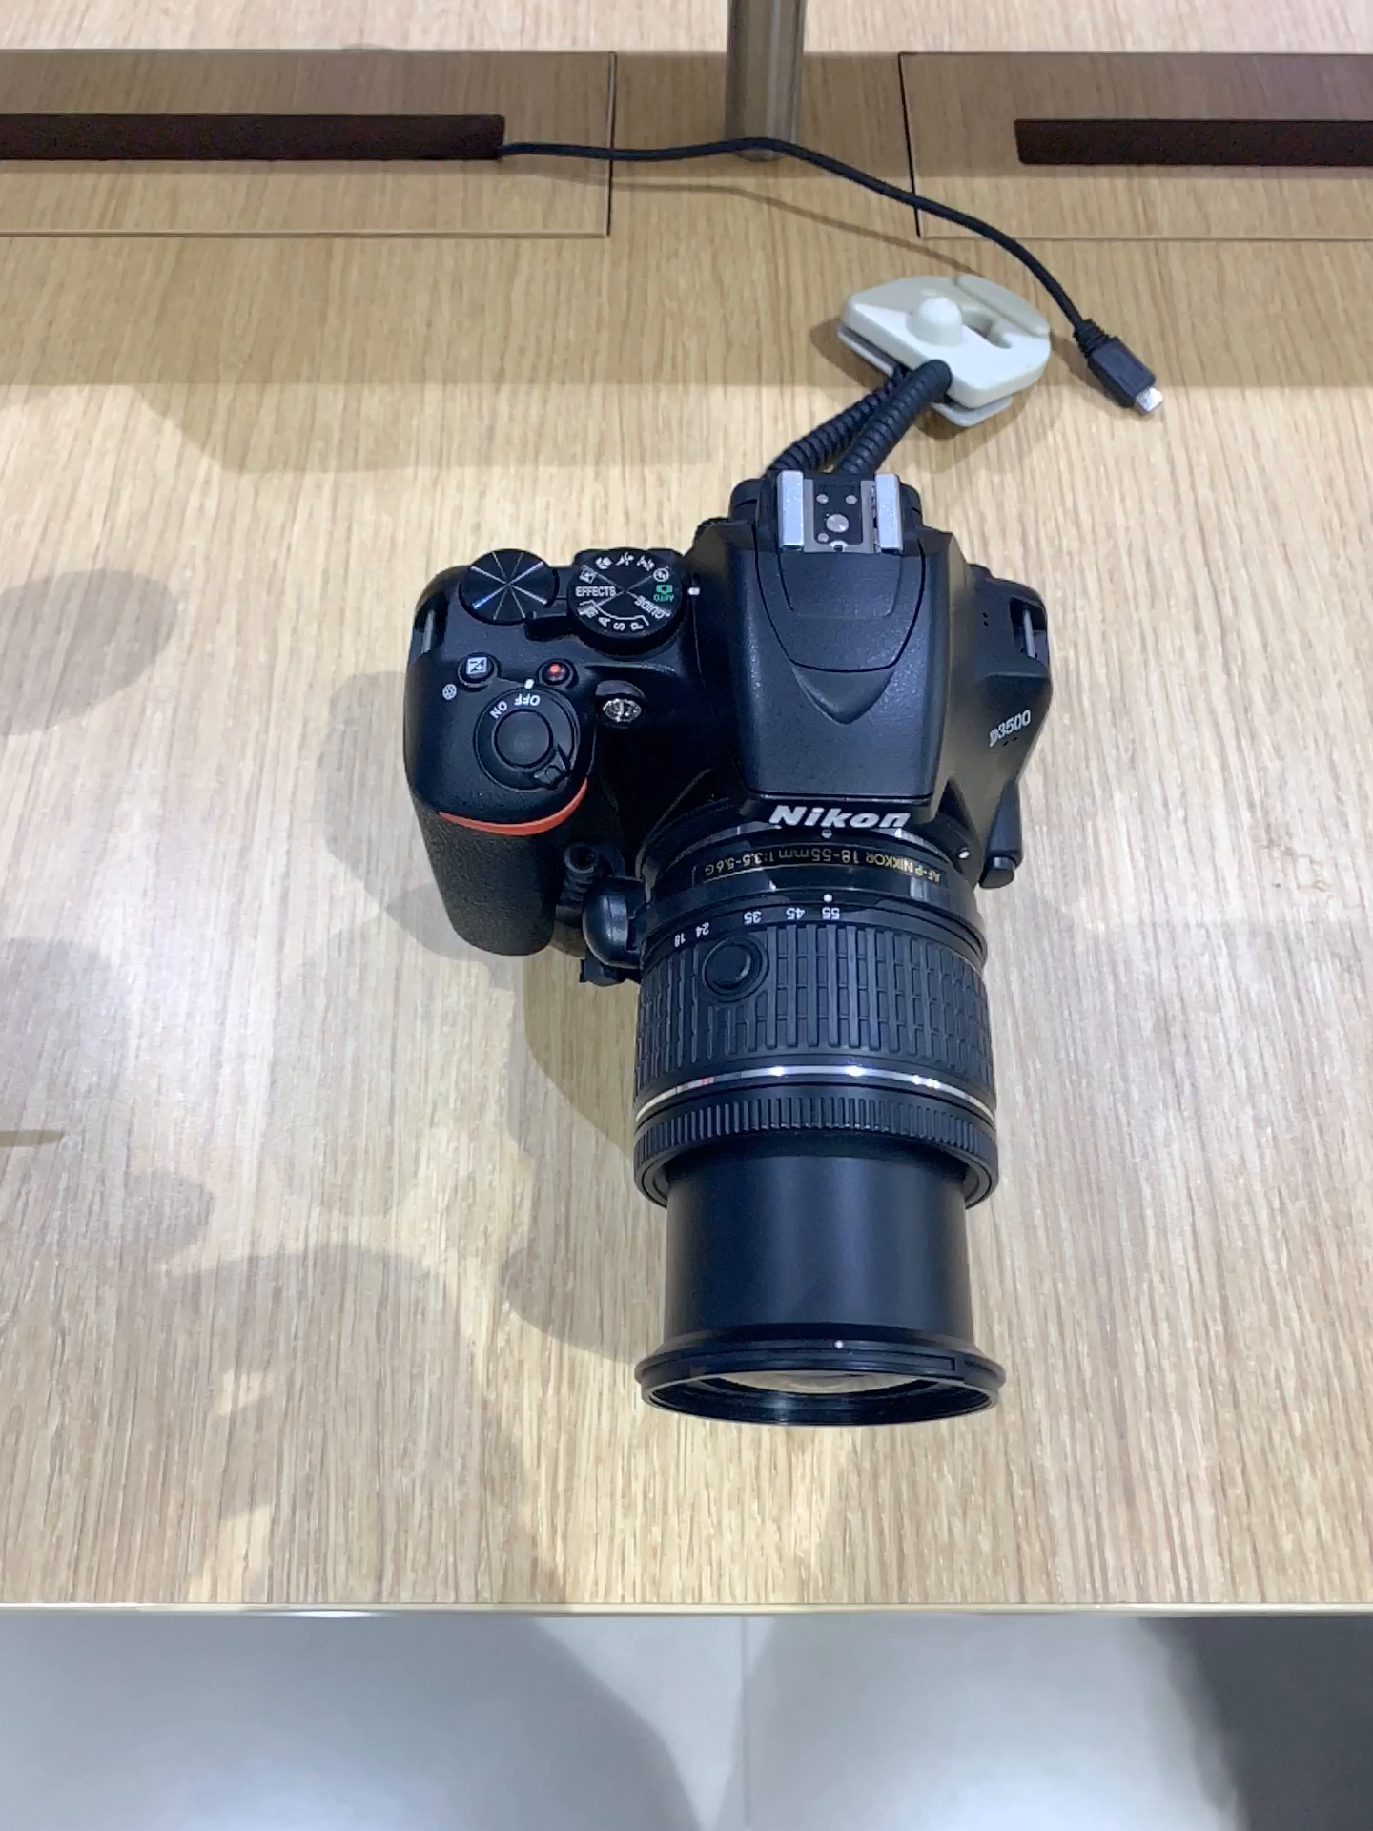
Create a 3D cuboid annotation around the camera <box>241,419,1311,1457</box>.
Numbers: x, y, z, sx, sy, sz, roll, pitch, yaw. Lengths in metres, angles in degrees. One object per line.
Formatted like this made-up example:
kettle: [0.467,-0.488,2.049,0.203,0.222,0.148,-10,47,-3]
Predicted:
camera: [0.009,0.009,0.228,0.115,0.100,0.136,-1,63,-1]
